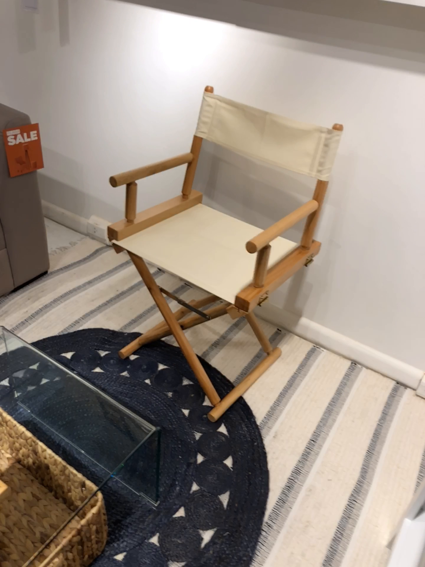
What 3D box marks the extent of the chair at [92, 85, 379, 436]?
[{"bbox_3d":[0.043,-0.106,1.458,0.541,0.793,0.563,27,39,26],"label":"chair"}]
